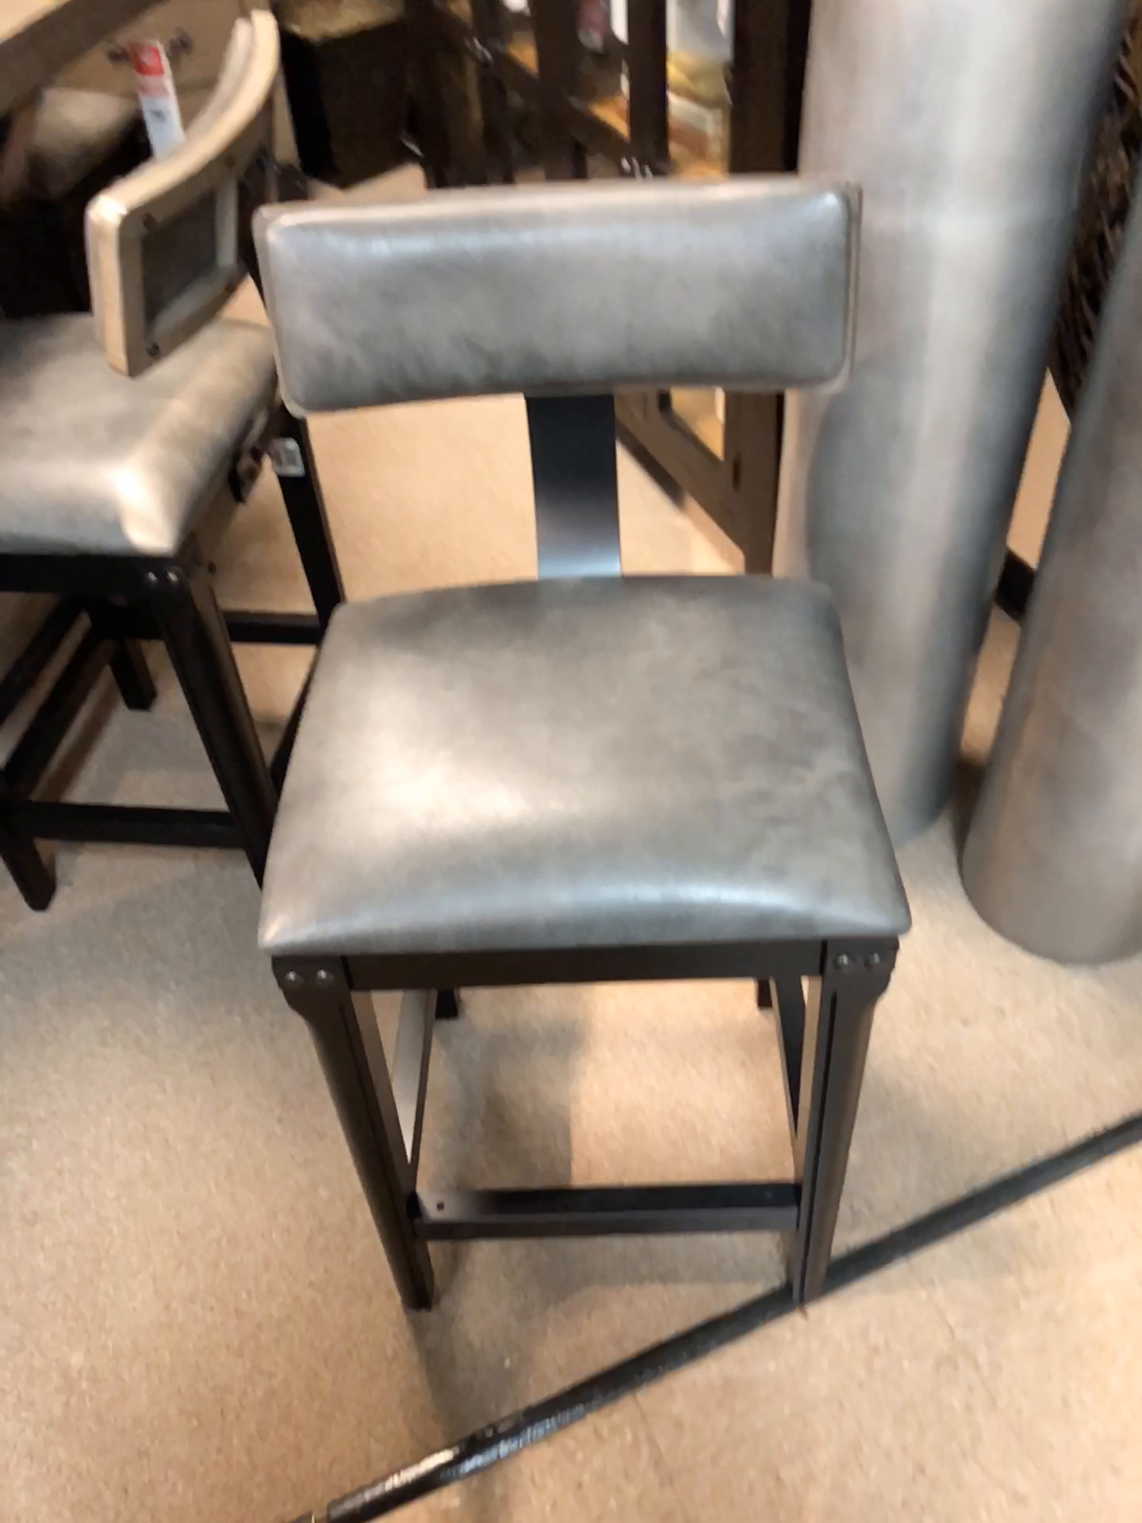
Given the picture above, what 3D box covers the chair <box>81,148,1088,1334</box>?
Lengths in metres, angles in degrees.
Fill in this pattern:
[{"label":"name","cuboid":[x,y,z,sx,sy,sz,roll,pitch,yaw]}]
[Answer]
[{"label":"chair","cuboid":[0.018,0.052,1.014,0.440,0.864,0.463,-2,45,1]}]
